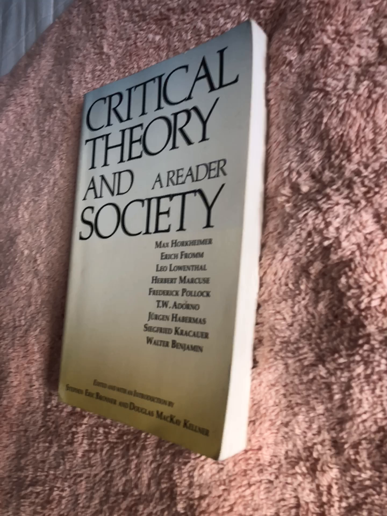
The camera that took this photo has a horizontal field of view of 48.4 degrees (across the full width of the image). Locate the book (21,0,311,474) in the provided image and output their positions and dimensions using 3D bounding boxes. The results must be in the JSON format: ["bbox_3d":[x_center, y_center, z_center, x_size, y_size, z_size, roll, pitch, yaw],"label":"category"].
[{"bbox_3d":[-0.023,-0.017,0.268,0.171,0.050,0.230,-1,80,38],"label":"book"}]
